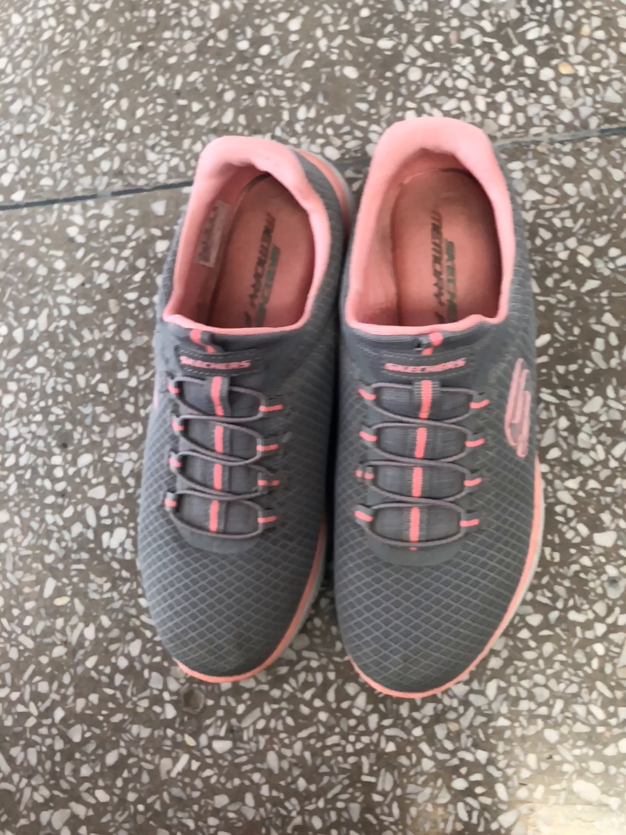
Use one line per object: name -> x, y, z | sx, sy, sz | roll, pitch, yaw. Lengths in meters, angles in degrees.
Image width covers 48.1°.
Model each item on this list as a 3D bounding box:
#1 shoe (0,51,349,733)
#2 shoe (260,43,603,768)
shoe -> -0.048, -0.014, 0.307 | 0.097, 0.095, 0.252 | 4, 80, 10
shoe -> 0.053, -0.008, 0.294 | 0.102, 0.108, 0.246 | 4, 80, 10
